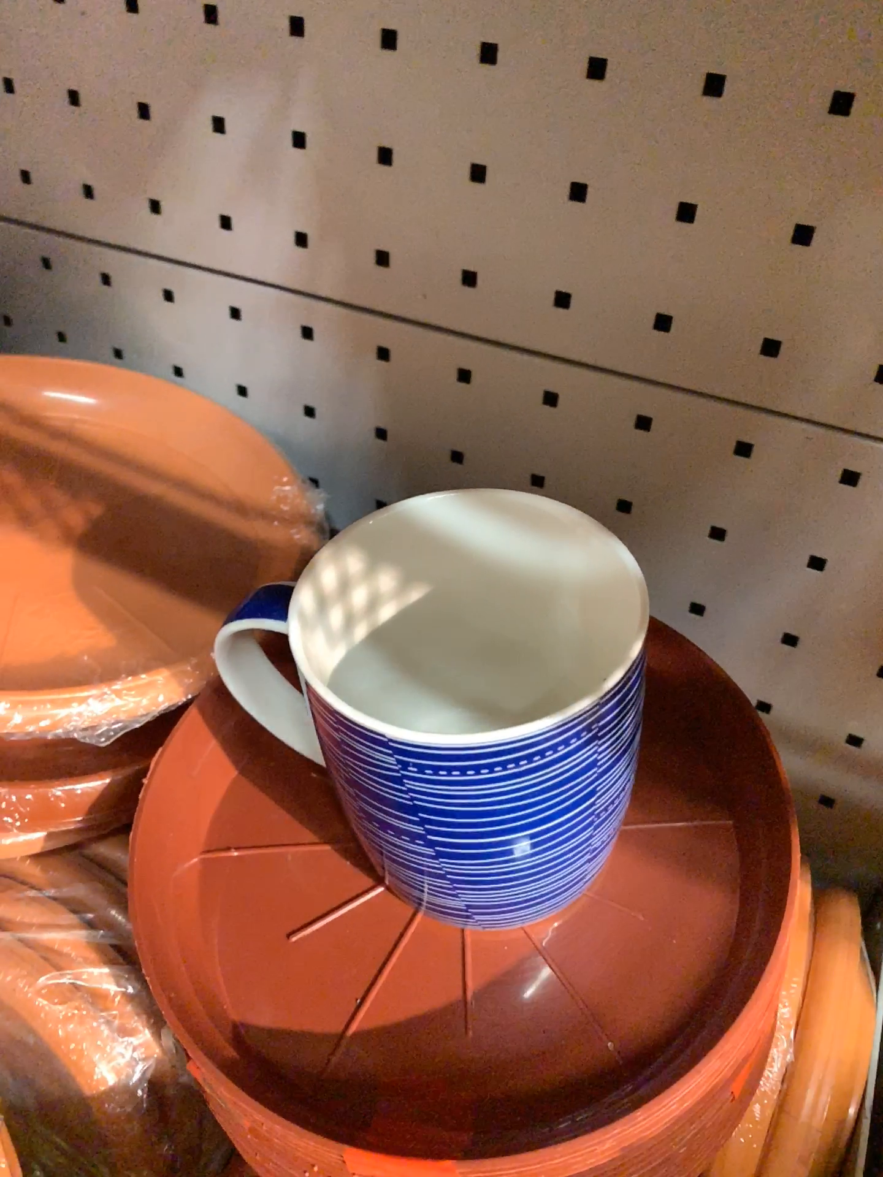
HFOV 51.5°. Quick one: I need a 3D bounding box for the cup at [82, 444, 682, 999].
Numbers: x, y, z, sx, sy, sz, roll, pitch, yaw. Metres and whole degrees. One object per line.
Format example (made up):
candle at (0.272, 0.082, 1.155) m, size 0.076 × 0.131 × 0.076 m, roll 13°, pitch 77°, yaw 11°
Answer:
cup at (-0.005, 0.033, 0.265) m, size 0.130 × 0.100 × 0.100 m, roll 7°, pitch 41°, yaw 12°
